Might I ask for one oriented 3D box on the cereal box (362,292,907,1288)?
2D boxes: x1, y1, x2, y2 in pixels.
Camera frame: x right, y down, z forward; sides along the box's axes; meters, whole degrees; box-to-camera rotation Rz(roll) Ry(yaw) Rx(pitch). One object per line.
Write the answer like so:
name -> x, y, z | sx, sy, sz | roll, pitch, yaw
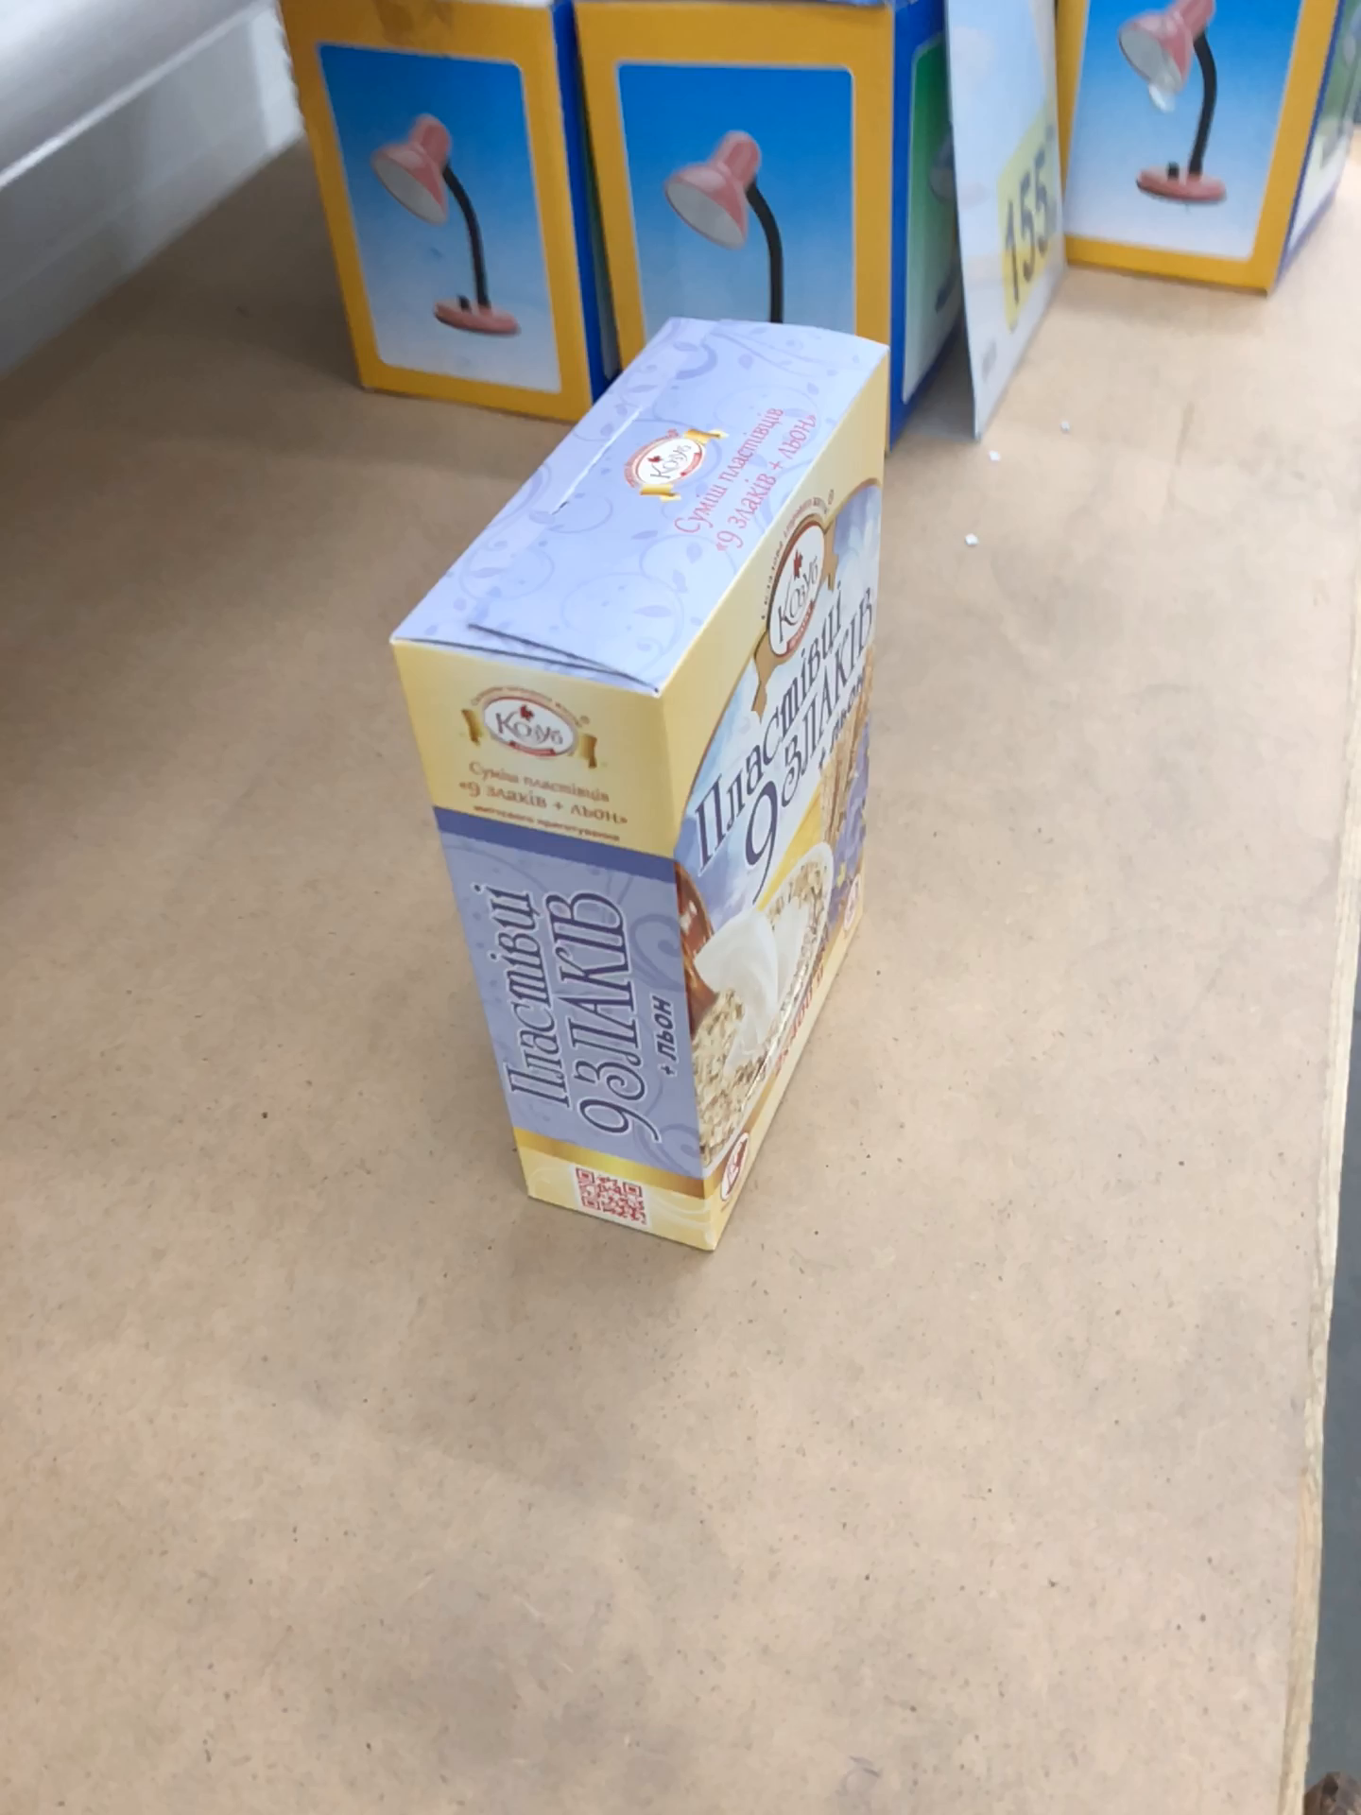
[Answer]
cereal box -> 0.000, -0.029, 0.462 | 0.070, 0.238, 0.181 | 16, 50, 16
